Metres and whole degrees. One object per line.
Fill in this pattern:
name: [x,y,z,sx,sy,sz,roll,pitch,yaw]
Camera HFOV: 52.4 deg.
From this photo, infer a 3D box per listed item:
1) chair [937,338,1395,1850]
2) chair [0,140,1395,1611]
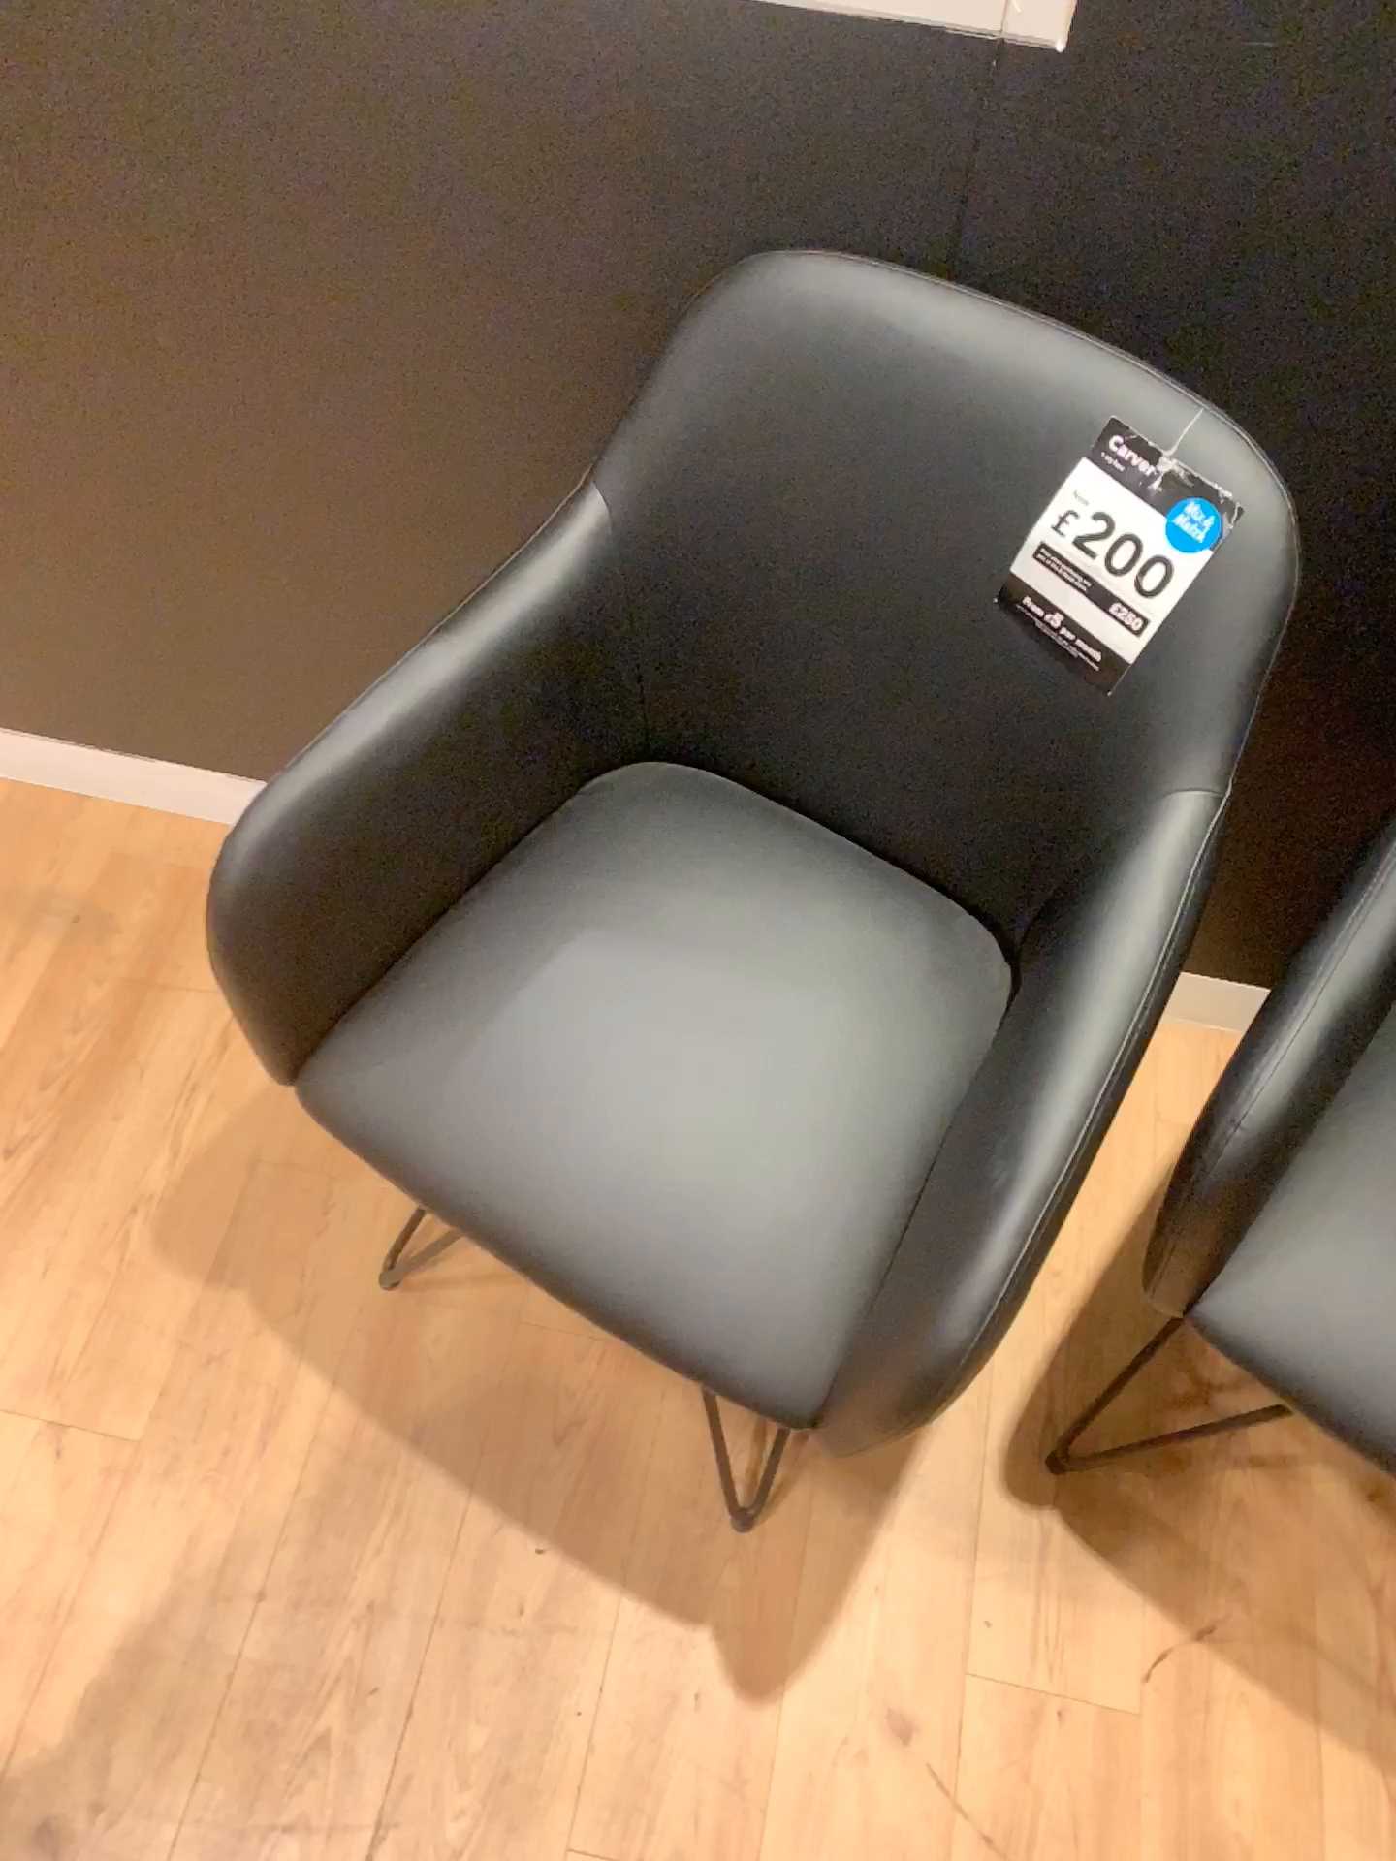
chair: [0.631,0.189,1.032,0.564,0.838,0.594,27,59,14]
chair: [0.020,0.008,1.091,0.604,0.779,0.594,30,60,16]
